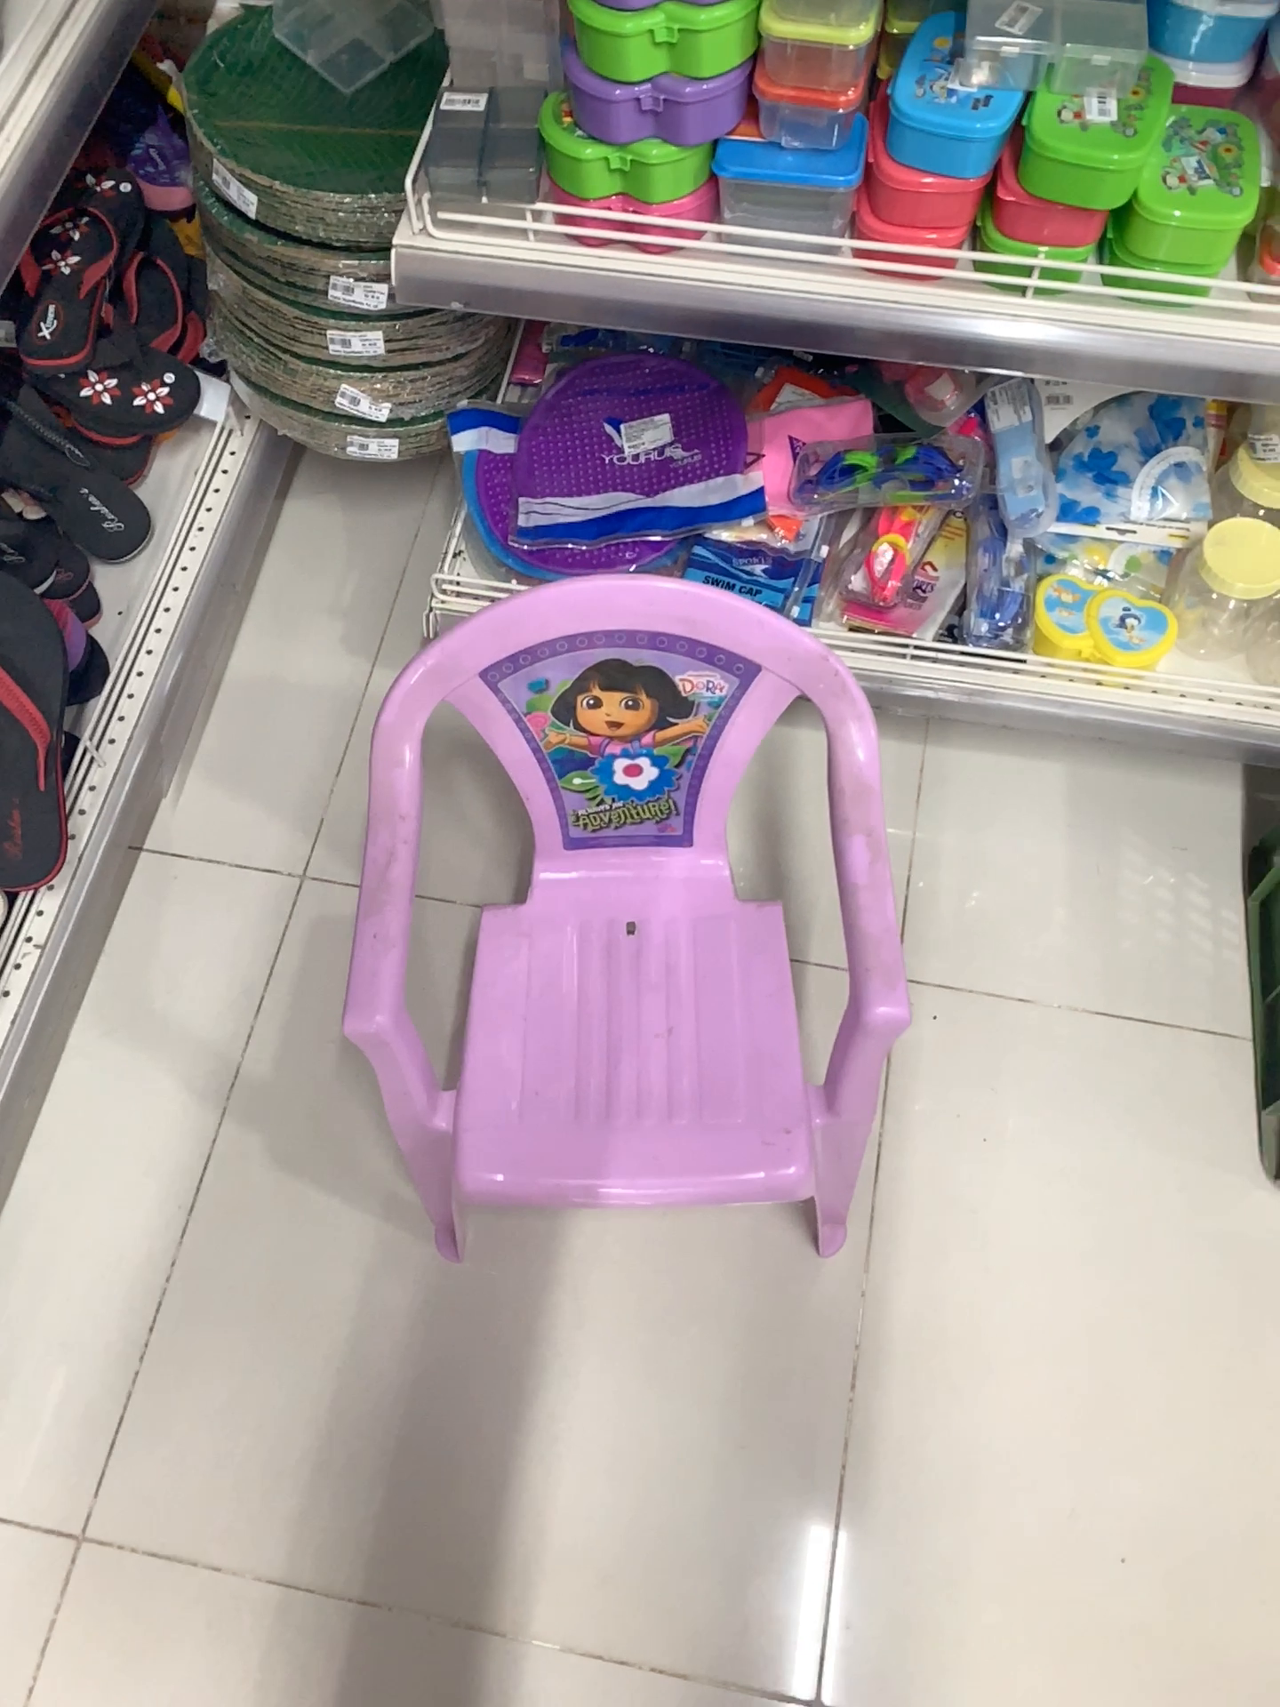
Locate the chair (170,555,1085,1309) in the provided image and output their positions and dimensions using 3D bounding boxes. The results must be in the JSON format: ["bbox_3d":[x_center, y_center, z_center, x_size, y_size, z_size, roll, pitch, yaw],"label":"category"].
[{"bbox_3d":[-0.002,0.087,0.834,0.400,0.429,0.340,-1,64,1],"label":"chair"}]
